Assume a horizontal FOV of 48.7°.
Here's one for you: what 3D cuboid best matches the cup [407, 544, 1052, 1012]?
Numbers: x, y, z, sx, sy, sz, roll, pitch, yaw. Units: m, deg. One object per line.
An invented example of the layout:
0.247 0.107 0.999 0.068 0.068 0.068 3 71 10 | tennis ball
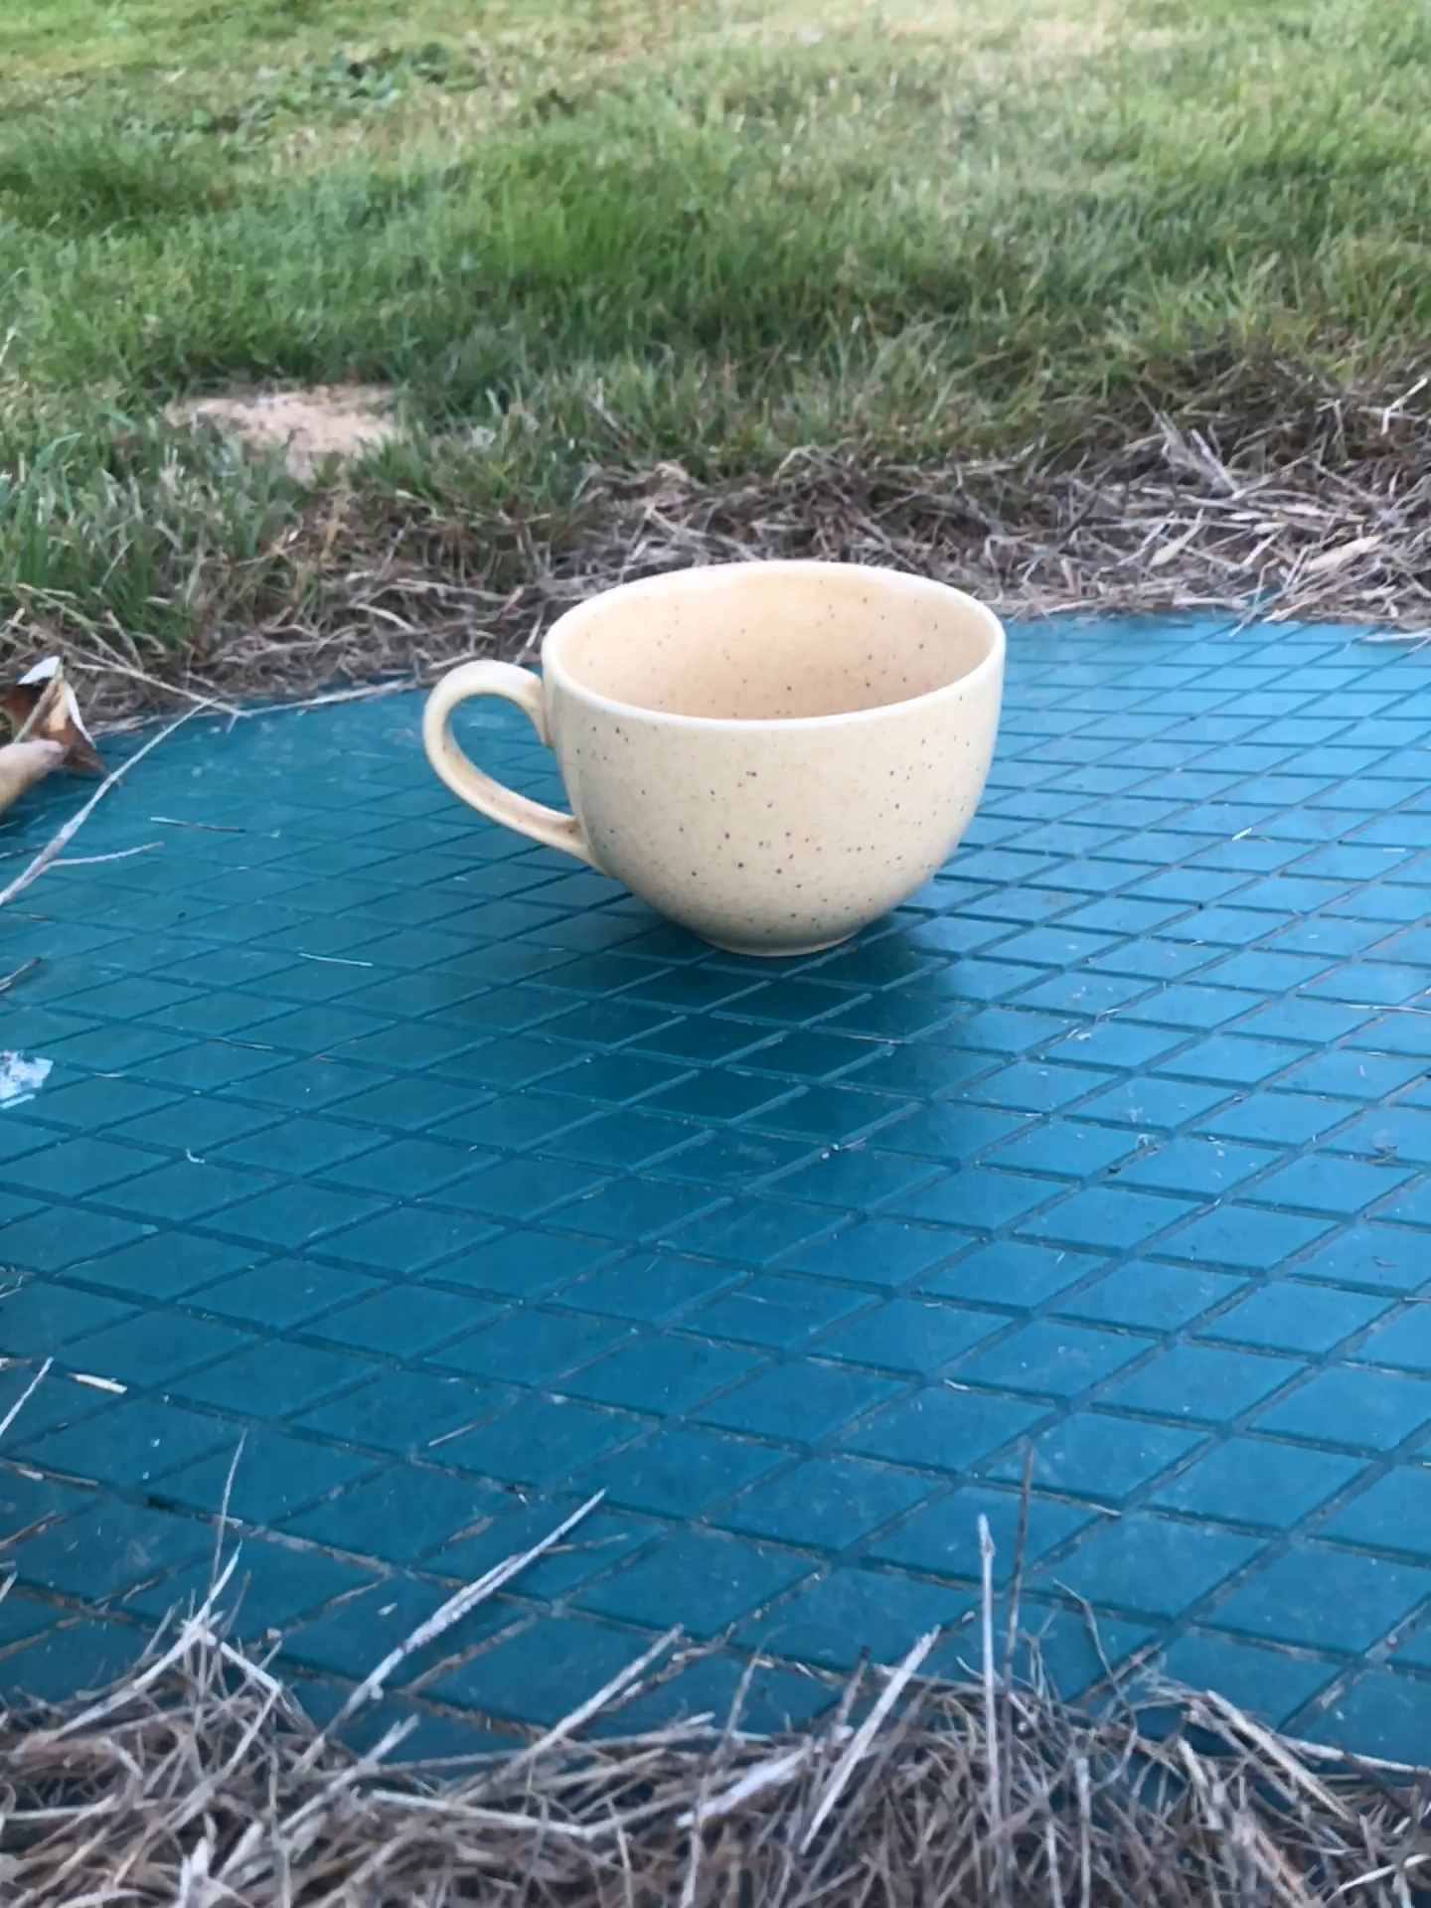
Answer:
0.003 -0.052 0.417 0.142 0.065 0.124 -5 31 0 | cup
